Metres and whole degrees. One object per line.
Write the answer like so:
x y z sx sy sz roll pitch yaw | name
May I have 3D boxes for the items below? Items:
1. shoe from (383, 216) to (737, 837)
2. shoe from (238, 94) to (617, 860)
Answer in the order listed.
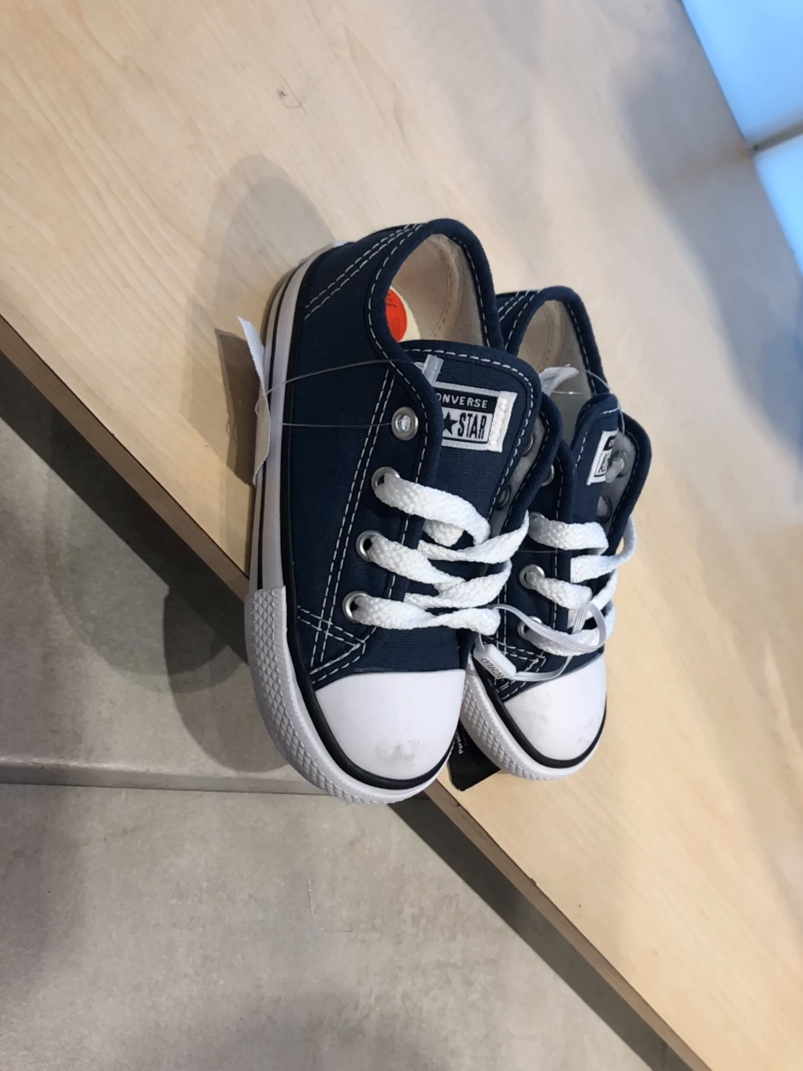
0.053 -0.003 0.293 0.081 0.060 0.170 -6 89 -45 | shoe
0.008 -0.011 0.245 0.081 0.060 0.170 7 80 -44 | shoe
